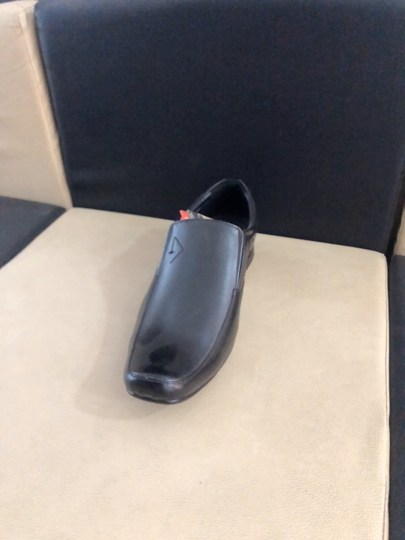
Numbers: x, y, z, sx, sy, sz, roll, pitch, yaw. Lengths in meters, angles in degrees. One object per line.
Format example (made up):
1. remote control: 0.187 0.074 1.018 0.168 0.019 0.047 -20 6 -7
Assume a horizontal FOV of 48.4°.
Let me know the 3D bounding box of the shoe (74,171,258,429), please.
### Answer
1. shoe: -0.012 0.003 0.449 0.090 0.090 0.282 6 37 13
